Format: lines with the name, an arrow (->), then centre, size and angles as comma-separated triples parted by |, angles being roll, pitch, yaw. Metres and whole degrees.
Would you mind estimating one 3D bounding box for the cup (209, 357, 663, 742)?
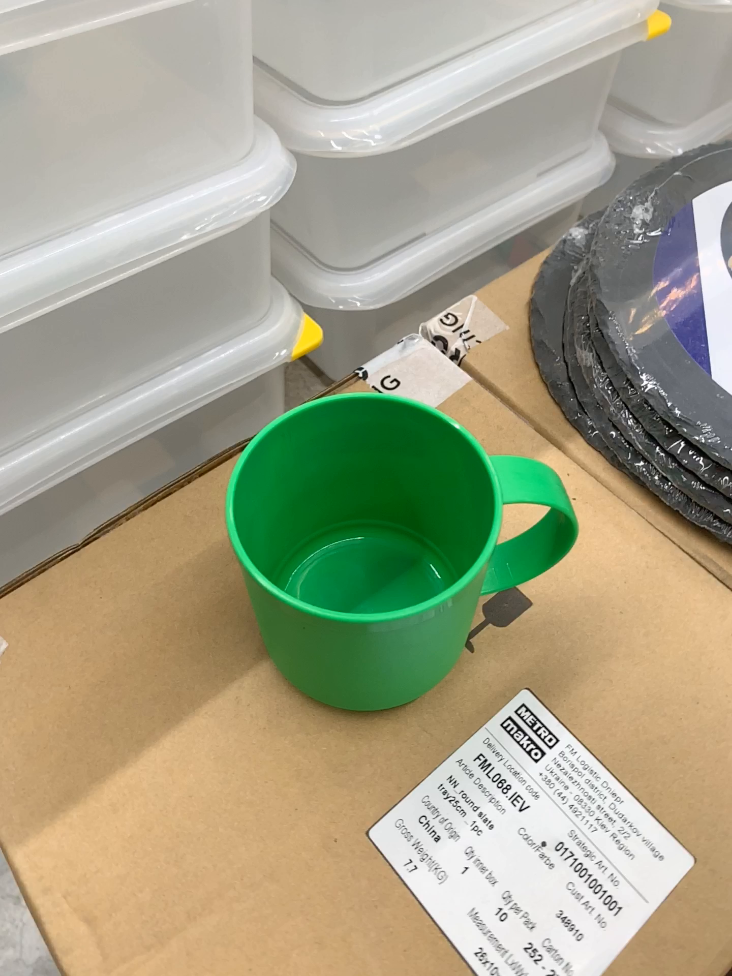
cup -> 0.014, 0.019, 0.227 | 0.105, 0.069, 0.076 | -8, 55, -5
